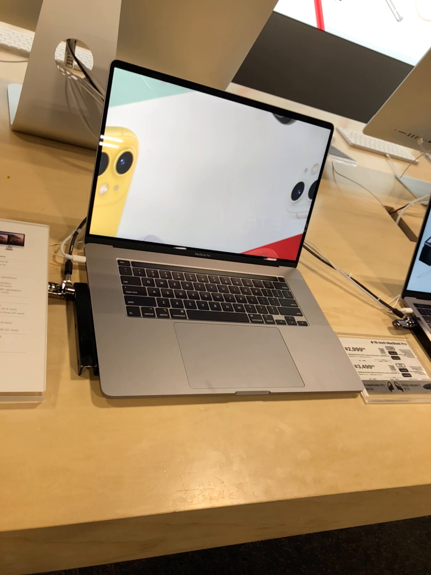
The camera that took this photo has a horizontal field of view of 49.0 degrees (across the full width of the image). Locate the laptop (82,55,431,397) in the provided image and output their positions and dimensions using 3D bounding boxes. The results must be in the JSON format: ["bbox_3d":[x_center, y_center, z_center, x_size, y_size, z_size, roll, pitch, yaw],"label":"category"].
[{"bbox_3d":[0.033,-0.075,0.610,0.336,0.204,0.350,6,43,-24],"label":"laptop"}]
